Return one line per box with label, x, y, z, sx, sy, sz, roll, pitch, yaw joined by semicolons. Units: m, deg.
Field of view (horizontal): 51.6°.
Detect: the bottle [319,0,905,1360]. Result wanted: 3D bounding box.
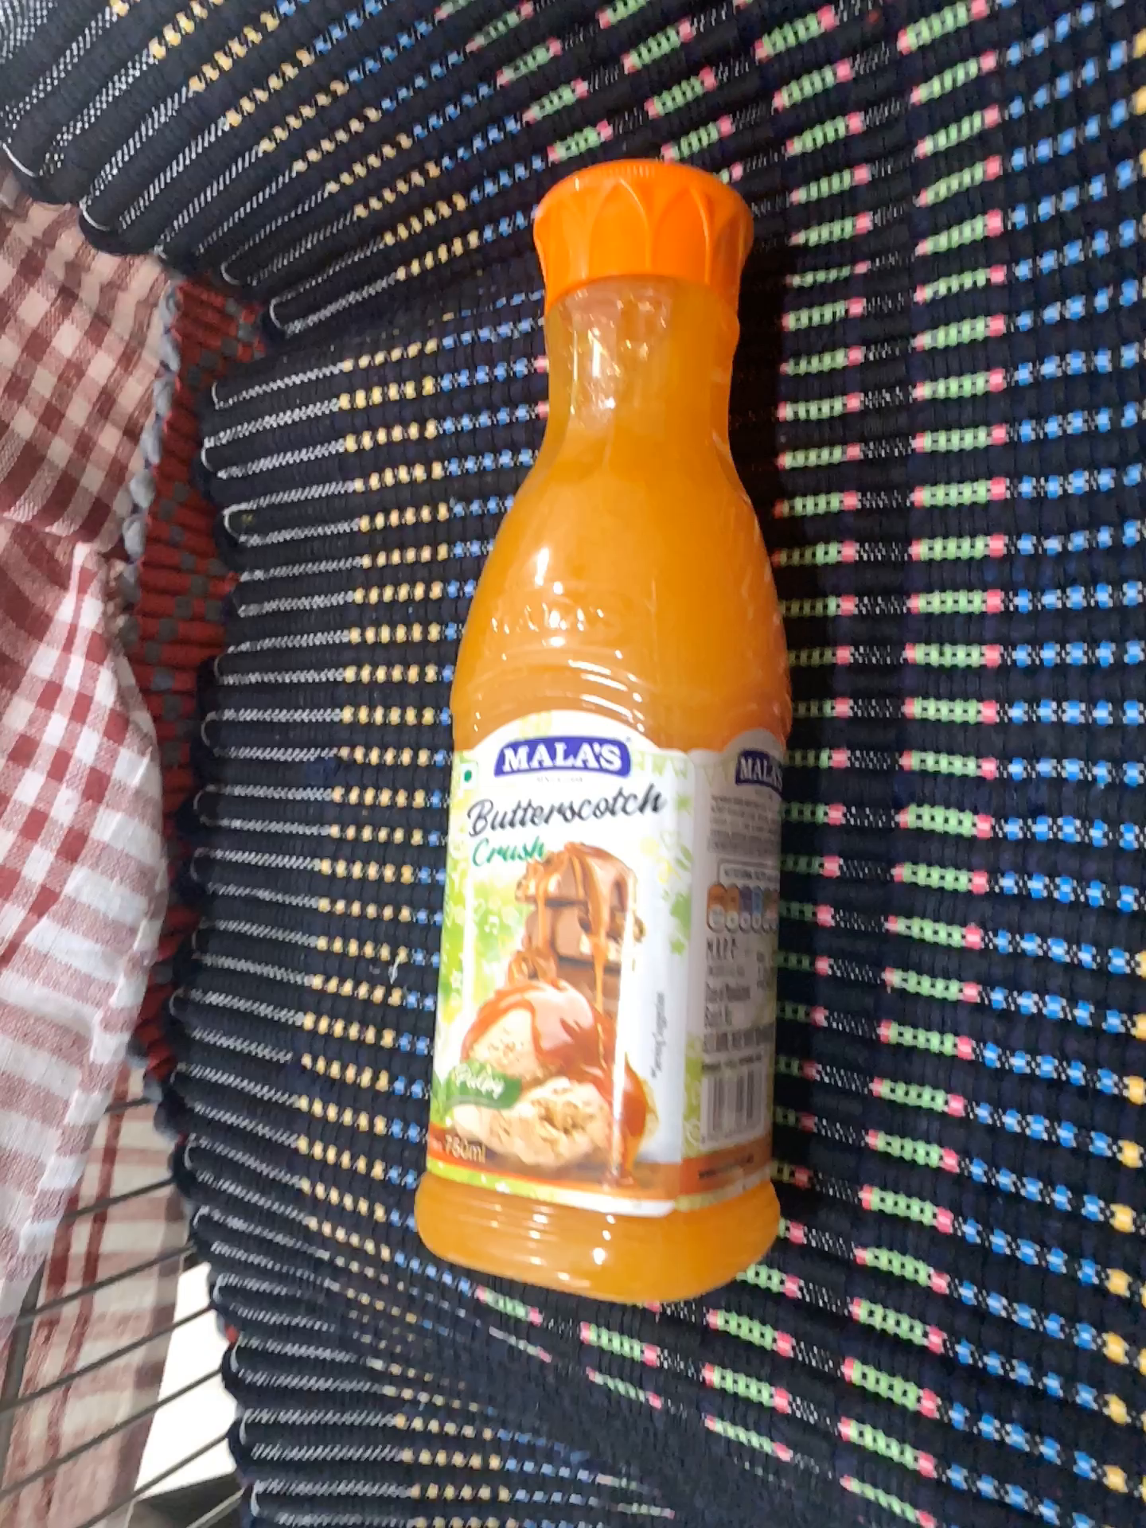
bottle;0.015;-0.028;0.240;0.070;0.060;0.250;0;77;33
